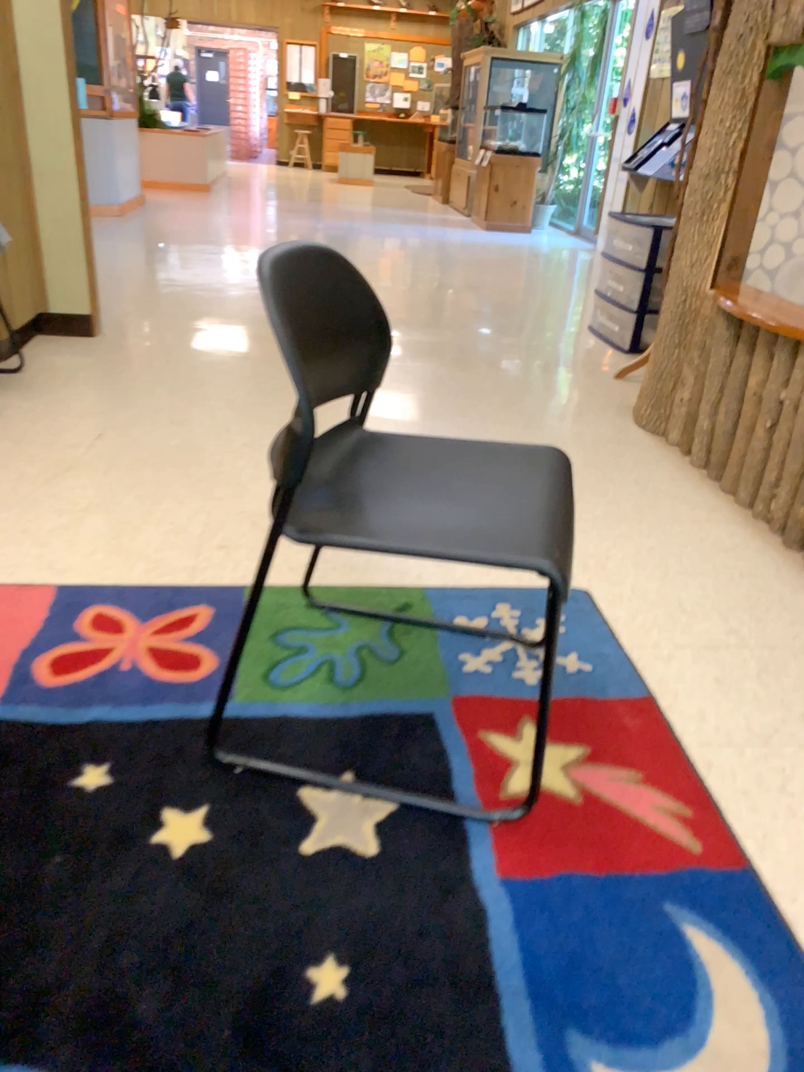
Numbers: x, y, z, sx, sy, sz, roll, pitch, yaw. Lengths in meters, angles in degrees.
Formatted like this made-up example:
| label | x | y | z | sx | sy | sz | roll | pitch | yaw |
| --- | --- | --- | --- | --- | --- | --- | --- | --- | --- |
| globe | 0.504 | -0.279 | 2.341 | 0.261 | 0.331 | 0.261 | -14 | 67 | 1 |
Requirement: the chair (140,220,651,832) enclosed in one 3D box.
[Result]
| label | x | y | z | sx | sy | sz | roll | pitch | yaw |
| --- | --- | --- | --- | --- | --- | --- | --- | --- | --- |
| chair | 0.008 | -0.069 | 1.374 | 0.610 | 0.775 | 0.593 | 9 | 26 | 9 |
